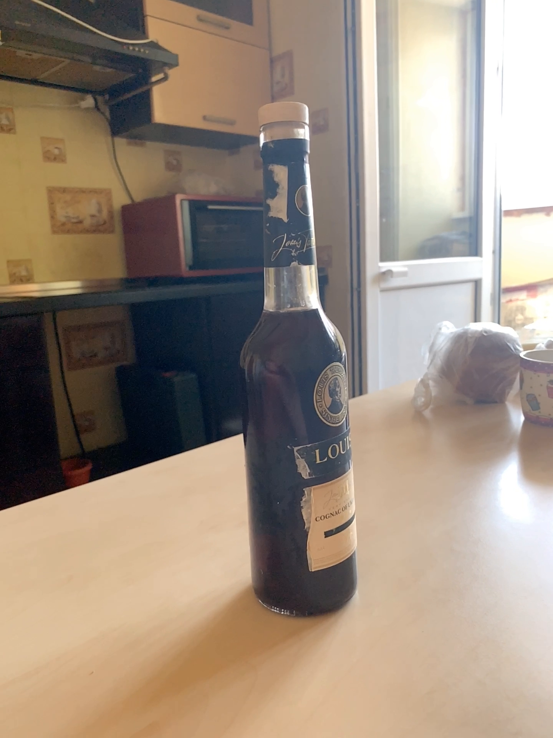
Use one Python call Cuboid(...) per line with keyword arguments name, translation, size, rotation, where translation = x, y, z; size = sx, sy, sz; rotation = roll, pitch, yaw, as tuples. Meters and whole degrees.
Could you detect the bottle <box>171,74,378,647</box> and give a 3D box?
Cuboid(name="bottle", translation=(0.006, -0.001, 0.339), size=(0.080, 0.289, 0.080), rotation=(-3, 10, 0))
